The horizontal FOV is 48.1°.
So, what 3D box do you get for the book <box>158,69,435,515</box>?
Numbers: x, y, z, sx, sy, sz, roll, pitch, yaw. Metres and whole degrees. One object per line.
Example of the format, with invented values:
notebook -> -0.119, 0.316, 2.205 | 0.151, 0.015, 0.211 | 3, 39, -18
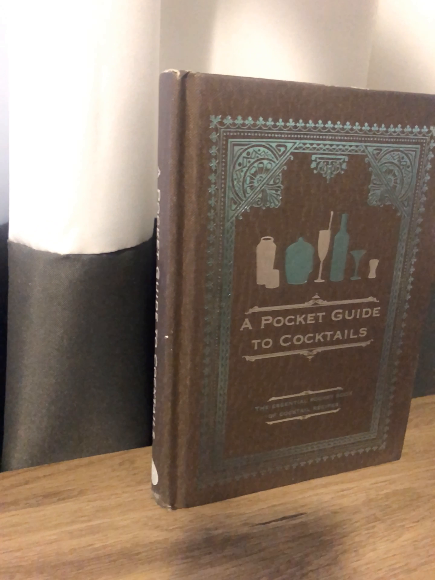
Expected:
book -> 0.041, 0.006, 0.241 | 0.137, 0.200, 0.022 | -4, 19, -20
